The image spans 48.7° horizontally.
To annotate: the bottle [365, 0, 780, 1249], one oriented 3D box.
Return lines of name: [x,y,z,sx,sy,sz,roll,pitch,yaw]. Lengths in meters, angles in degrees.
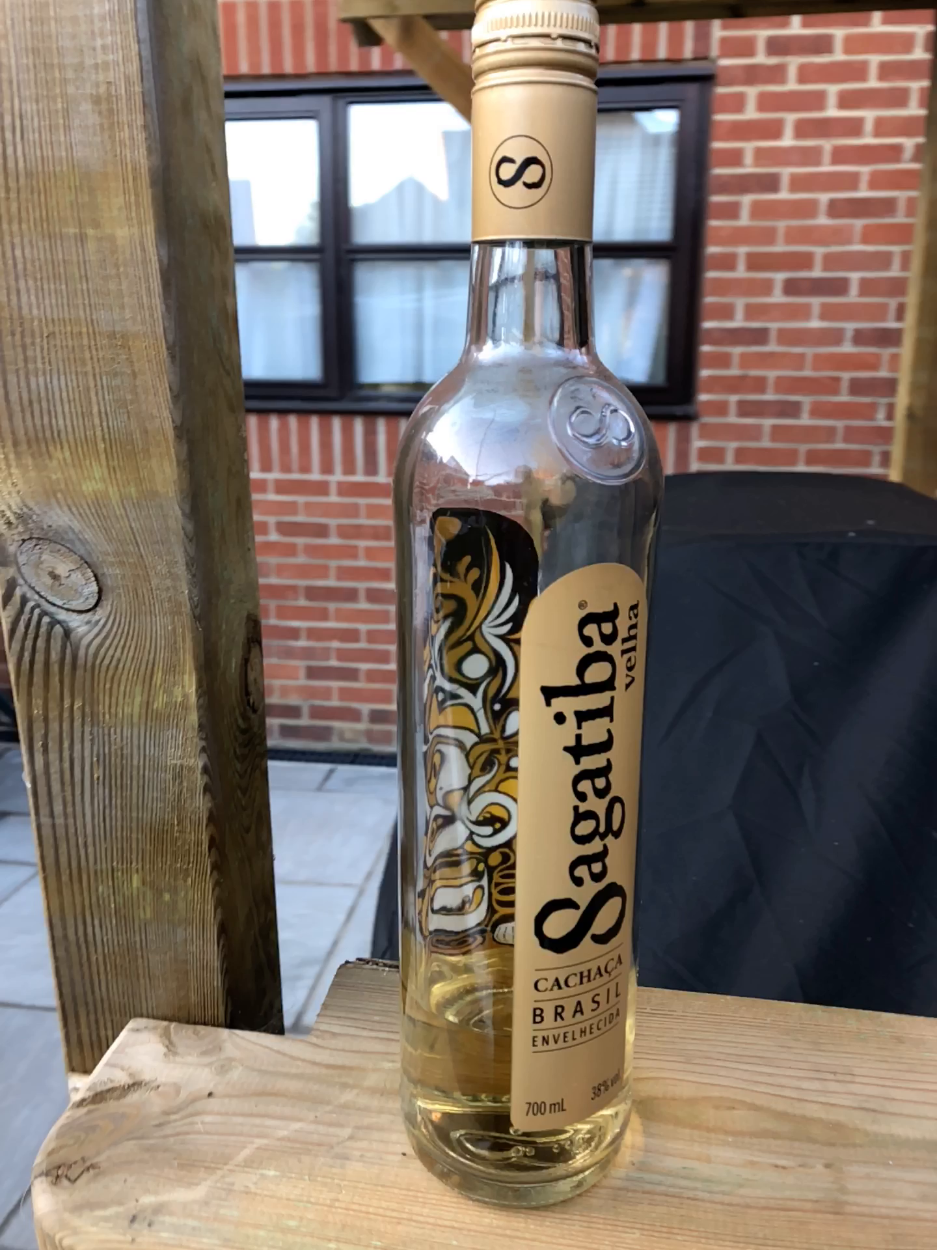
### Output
bottle: [0.021,0.008,0.285,0.080,0.329,0.060,-5,14,-23]
